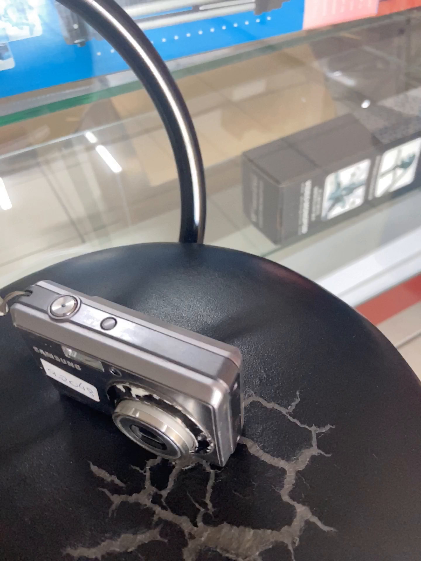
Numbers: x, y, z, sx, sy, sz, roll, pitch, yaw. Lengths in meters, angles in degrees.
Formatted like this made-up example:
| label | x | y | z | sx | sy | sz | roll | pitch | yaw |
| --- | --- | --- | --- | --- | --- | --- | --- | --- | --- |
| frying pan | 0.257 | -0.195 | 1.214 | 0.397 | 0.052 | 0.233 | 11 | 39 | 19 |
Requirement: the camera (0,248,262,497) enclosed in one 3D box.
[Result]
| label | x | y | z | sx | sy | sz | roll | pitch | yaw |
| --- | --- | --- | --- | --- | --- | --- | --- | --- | --- |
| camera | -0.029 | 0.037 | 0.180 | 0.090 | 0.070 | 0.040 | 18 | 50 | 21 |
